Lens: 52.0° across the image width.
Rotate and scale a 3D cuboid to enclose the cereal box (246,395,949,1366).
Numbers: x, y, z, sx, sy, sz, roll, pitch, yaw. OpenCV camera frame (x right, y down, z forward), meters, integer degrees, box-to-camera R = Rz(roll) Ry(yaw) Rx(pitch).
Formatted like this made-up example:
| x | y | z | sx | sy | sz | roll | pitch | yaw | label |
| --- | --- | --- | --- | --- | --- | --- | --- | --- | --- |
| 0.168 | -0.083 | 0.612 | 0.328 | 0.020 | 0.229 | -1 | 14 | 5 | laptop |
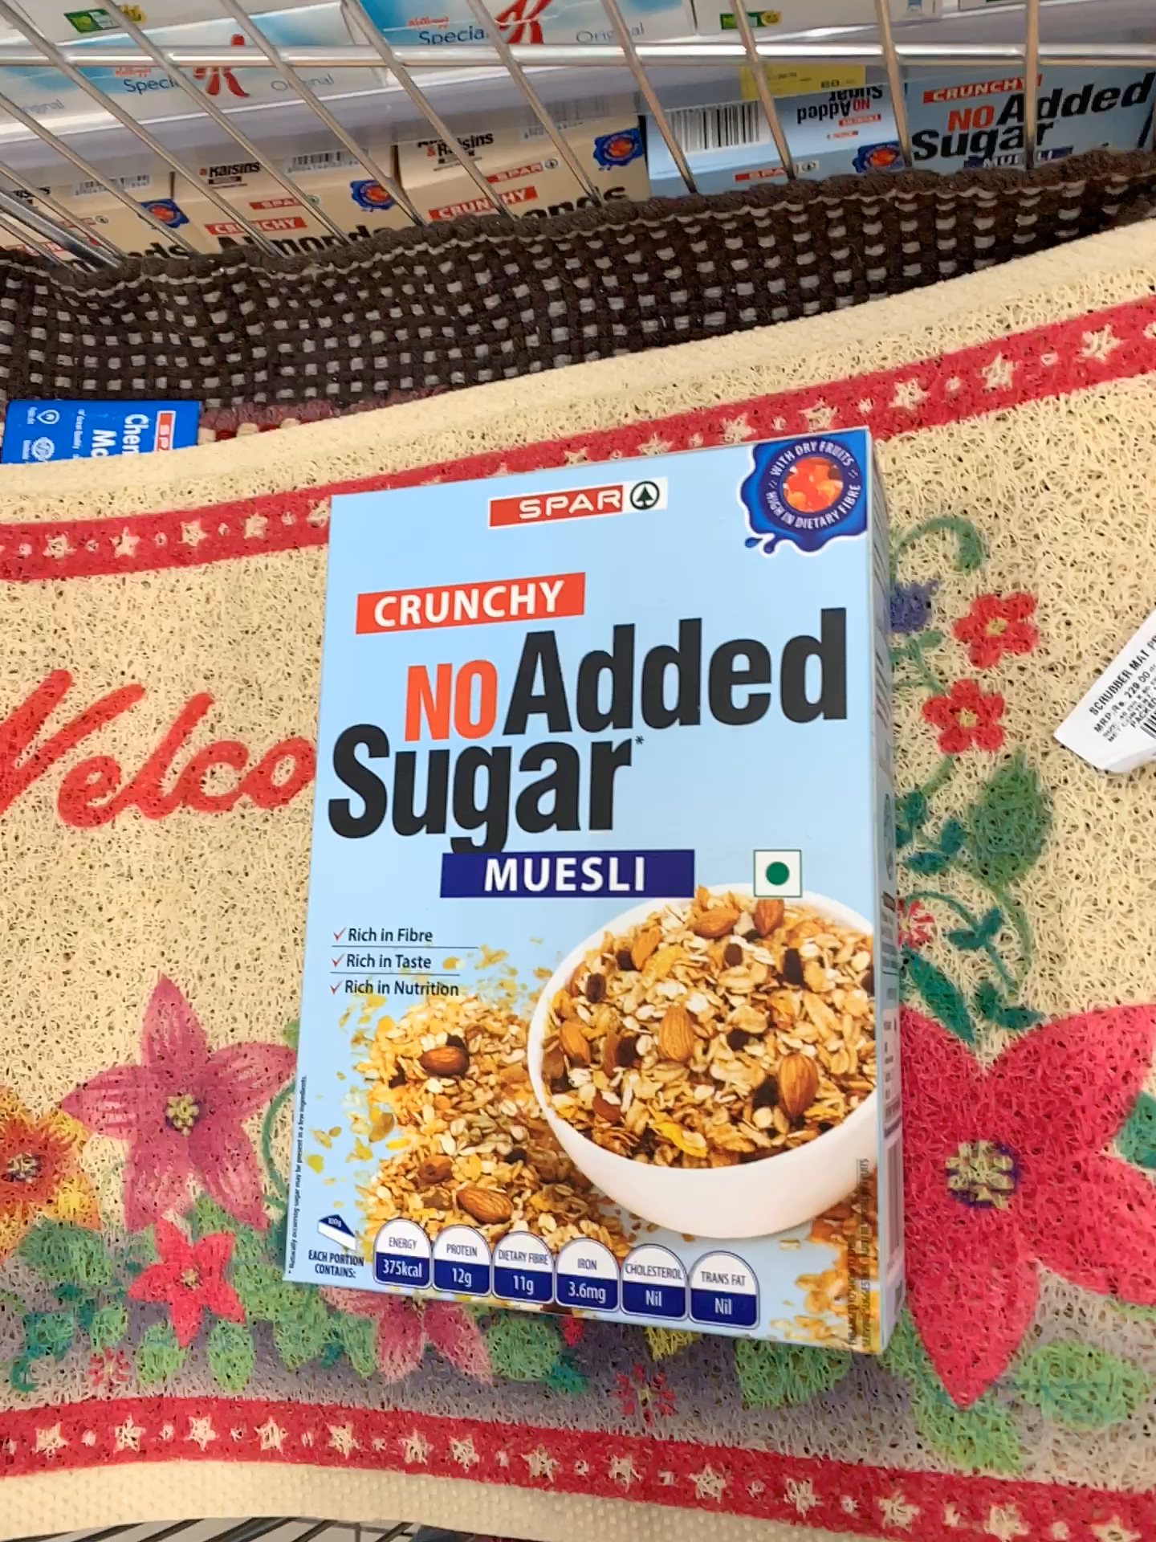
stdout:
| x | y | z | sx | sy | sz | roll | pitch | yaw | label |
| --- | --- | --- | --- | --- | --- | --- | --- | --- | --- |
| 0.005 | 0.026 | 0.335 | 0.180 | 0.050 | 0.230 | -3 | 79 | 20 | cereal box |
